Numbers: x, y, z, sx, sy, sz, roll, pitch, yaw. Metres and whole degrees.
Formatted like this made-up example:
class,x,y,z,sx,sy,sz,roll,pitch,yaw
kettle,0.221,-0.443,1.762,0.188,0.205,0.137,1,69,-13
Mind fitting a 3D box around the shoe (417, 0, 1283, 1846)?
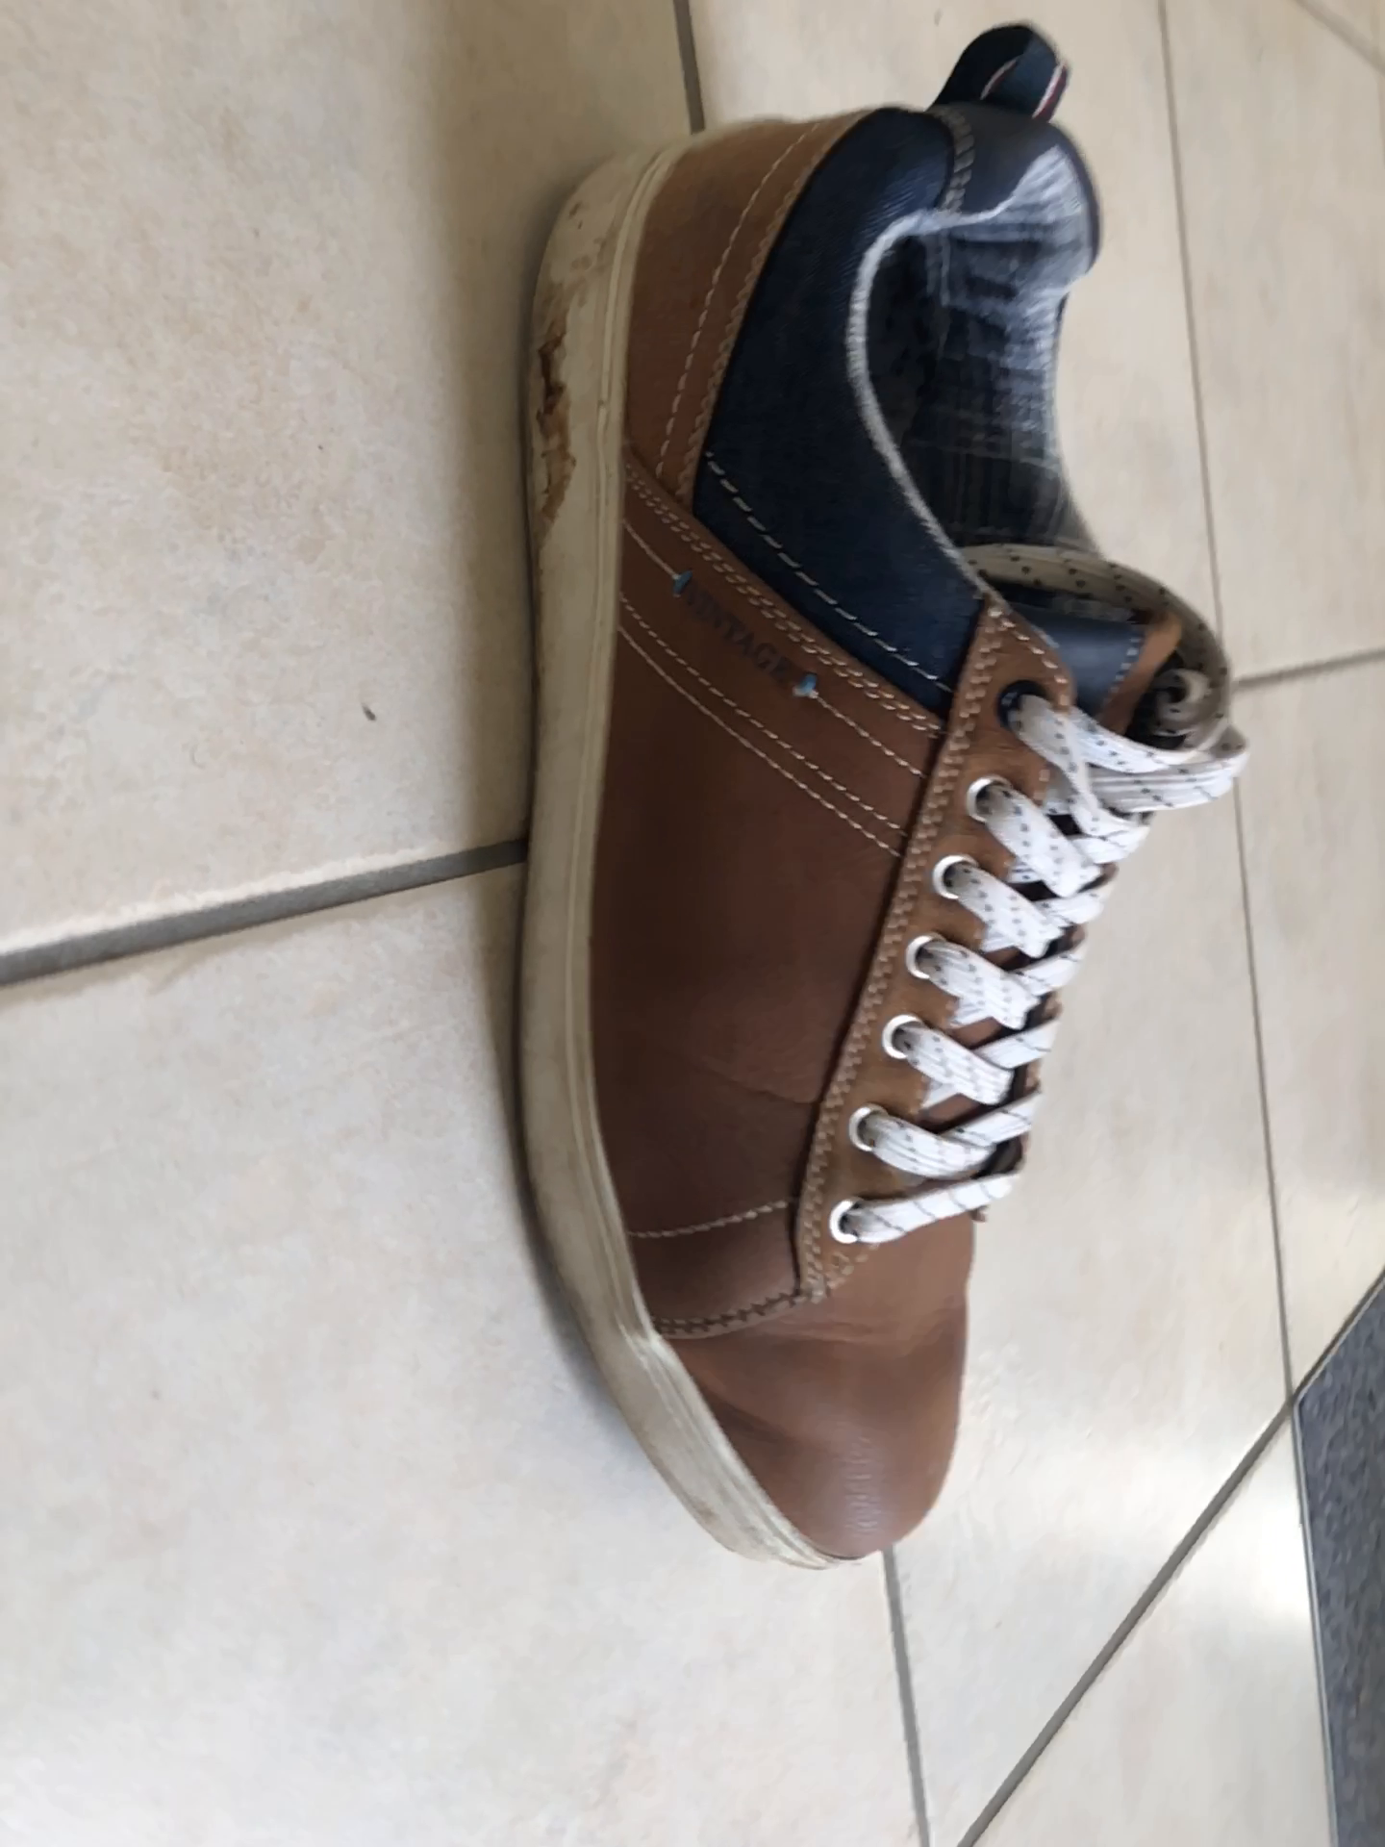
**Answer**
class,x,y,z,sx,sy,sz,roll,pitch,yaw
shoe,0.032,-0.014,0.302,0.101,0.119,0.320,-4,92,-51
